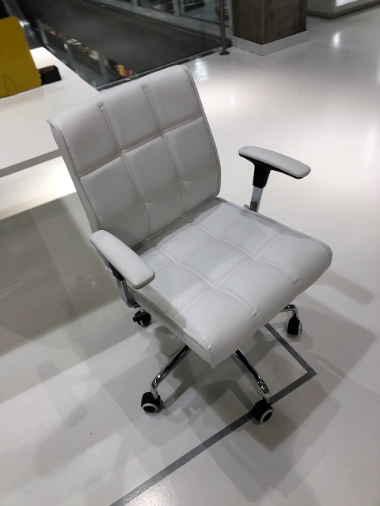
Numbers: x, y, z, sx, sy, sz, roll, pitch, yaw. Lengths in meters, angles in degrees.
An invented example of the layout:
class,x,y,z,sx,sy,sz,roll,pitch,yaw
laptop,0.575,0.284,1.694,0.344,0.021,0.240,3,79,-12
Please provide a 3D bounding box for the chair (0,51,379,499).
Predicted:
class,x,y,z,sx,sy,sz,roll,pitch,yaw
chair,-0.008,0.030,1.251,0.662,0.922,0.724,-34,46,-25
